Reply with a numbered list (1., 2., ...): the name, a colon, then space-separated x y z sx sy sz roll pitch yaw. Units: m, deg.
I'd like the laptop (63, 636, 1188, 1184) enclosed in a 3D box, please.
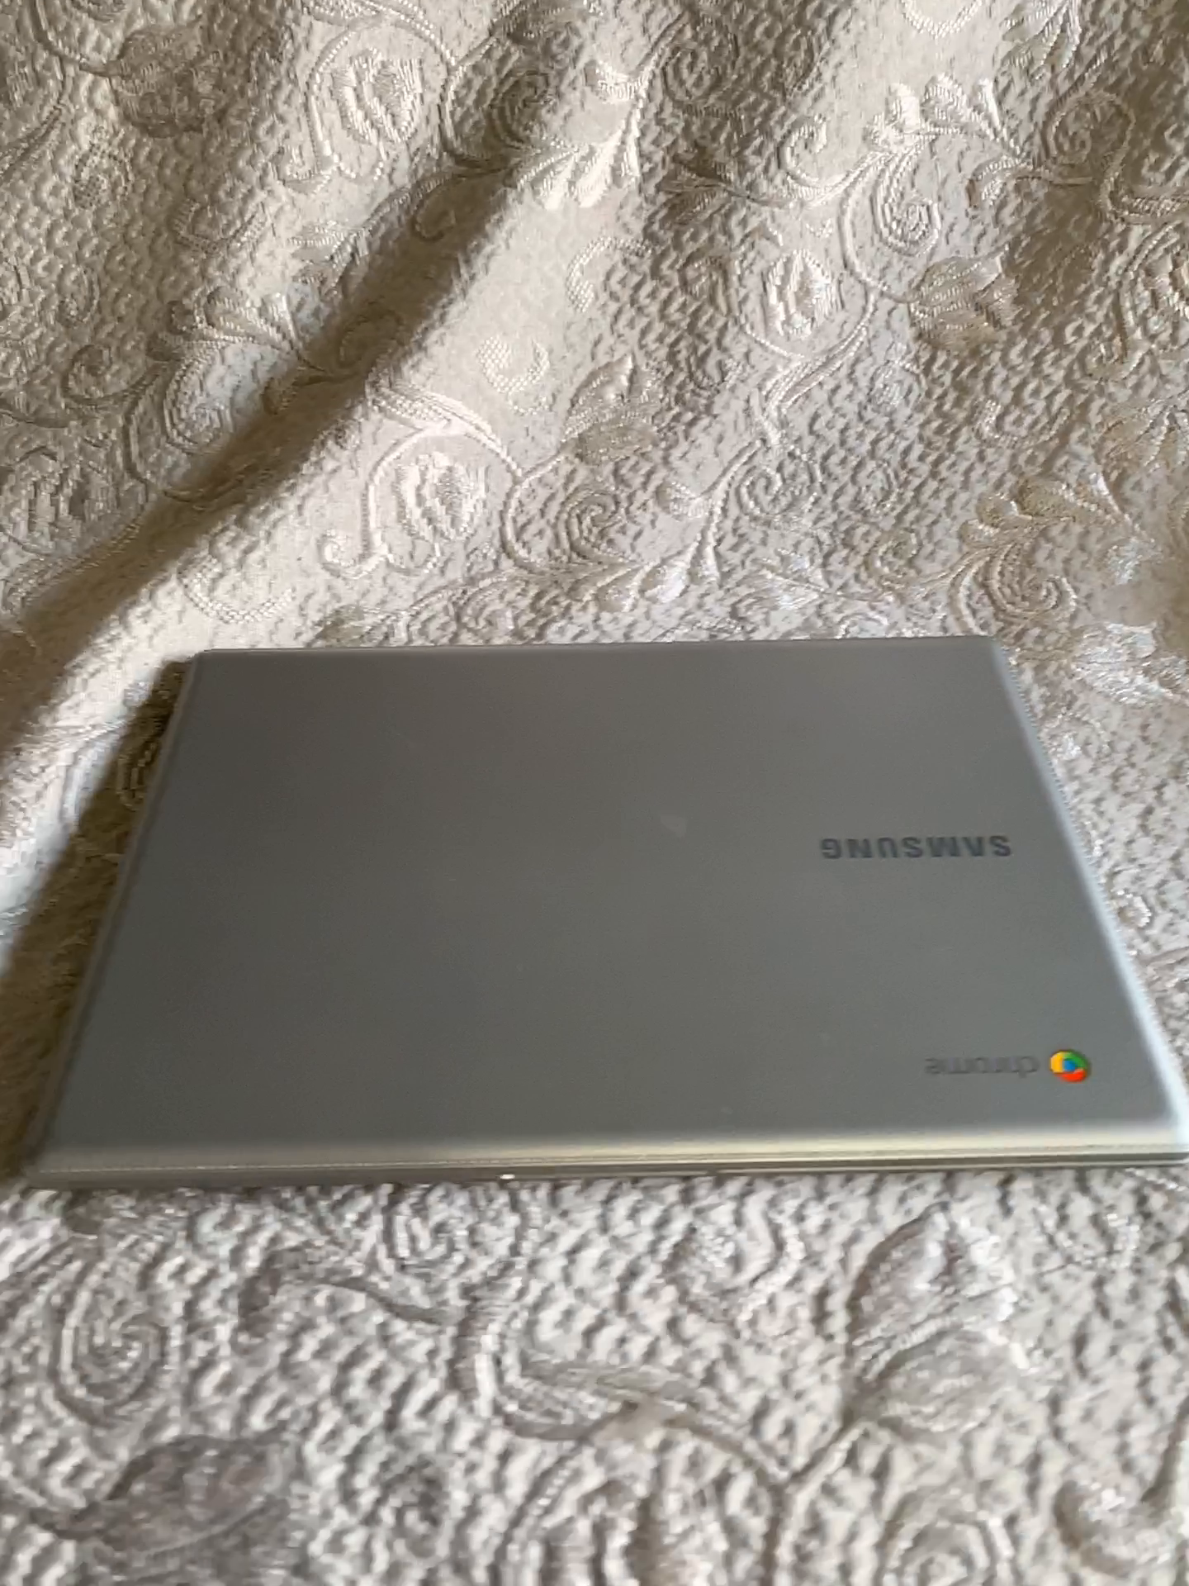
1. laptop: 0.007 0.019 0.341 0.264 0.005 0.176 -2 49 -1
